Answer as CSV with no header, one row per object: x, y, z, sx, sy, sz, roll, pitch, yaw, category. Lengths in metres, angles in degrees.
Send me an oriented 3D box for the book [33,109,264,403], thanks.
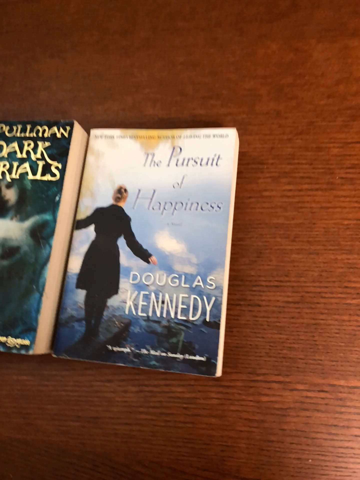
-0.021,0.003,0.368,0.180,0.040,0.250,3,76,12,book

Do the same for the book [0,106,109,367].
-0.184,-0.012,0.410,0.180,0.050,0.250,3,76,12,book
